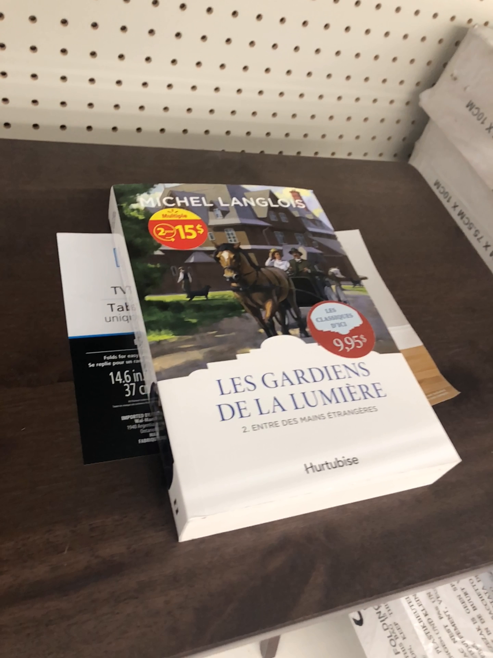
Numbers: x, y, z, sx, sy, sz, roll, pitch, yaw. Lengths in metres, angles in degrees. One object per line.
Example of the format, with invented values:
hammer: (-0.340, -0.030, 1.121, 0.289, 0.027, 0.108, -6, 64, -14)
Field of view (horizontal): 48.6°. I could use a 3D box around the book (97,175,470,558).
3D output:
book: (0.006, -0.002, 0.337, 0.159, 0.039, 0.234, -4, 53, -23)
